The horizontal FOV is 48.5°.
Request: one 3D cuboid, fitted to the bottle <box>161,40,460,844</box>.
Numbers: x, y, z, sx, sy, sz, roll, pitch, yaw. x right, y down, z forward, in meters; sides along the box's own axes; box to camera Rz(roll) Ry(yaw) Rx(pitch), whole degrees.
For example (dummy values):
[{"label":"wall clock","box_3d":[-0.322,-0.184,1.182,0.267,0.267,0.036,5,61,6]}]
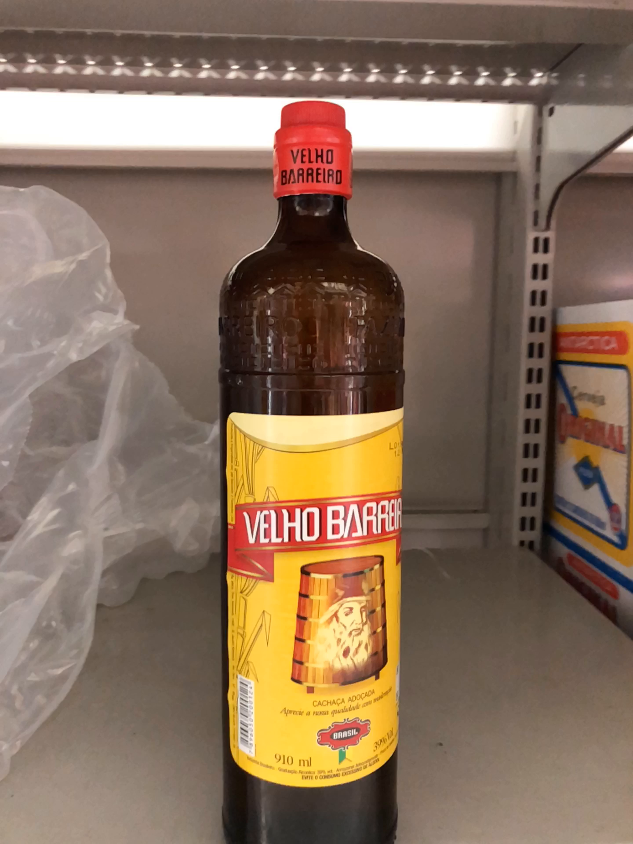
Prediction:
[{"label":"bottle","box_3d":[-0.004,0.026,0.282,0.090,0.299,0.080,-4,8,-20]}]
